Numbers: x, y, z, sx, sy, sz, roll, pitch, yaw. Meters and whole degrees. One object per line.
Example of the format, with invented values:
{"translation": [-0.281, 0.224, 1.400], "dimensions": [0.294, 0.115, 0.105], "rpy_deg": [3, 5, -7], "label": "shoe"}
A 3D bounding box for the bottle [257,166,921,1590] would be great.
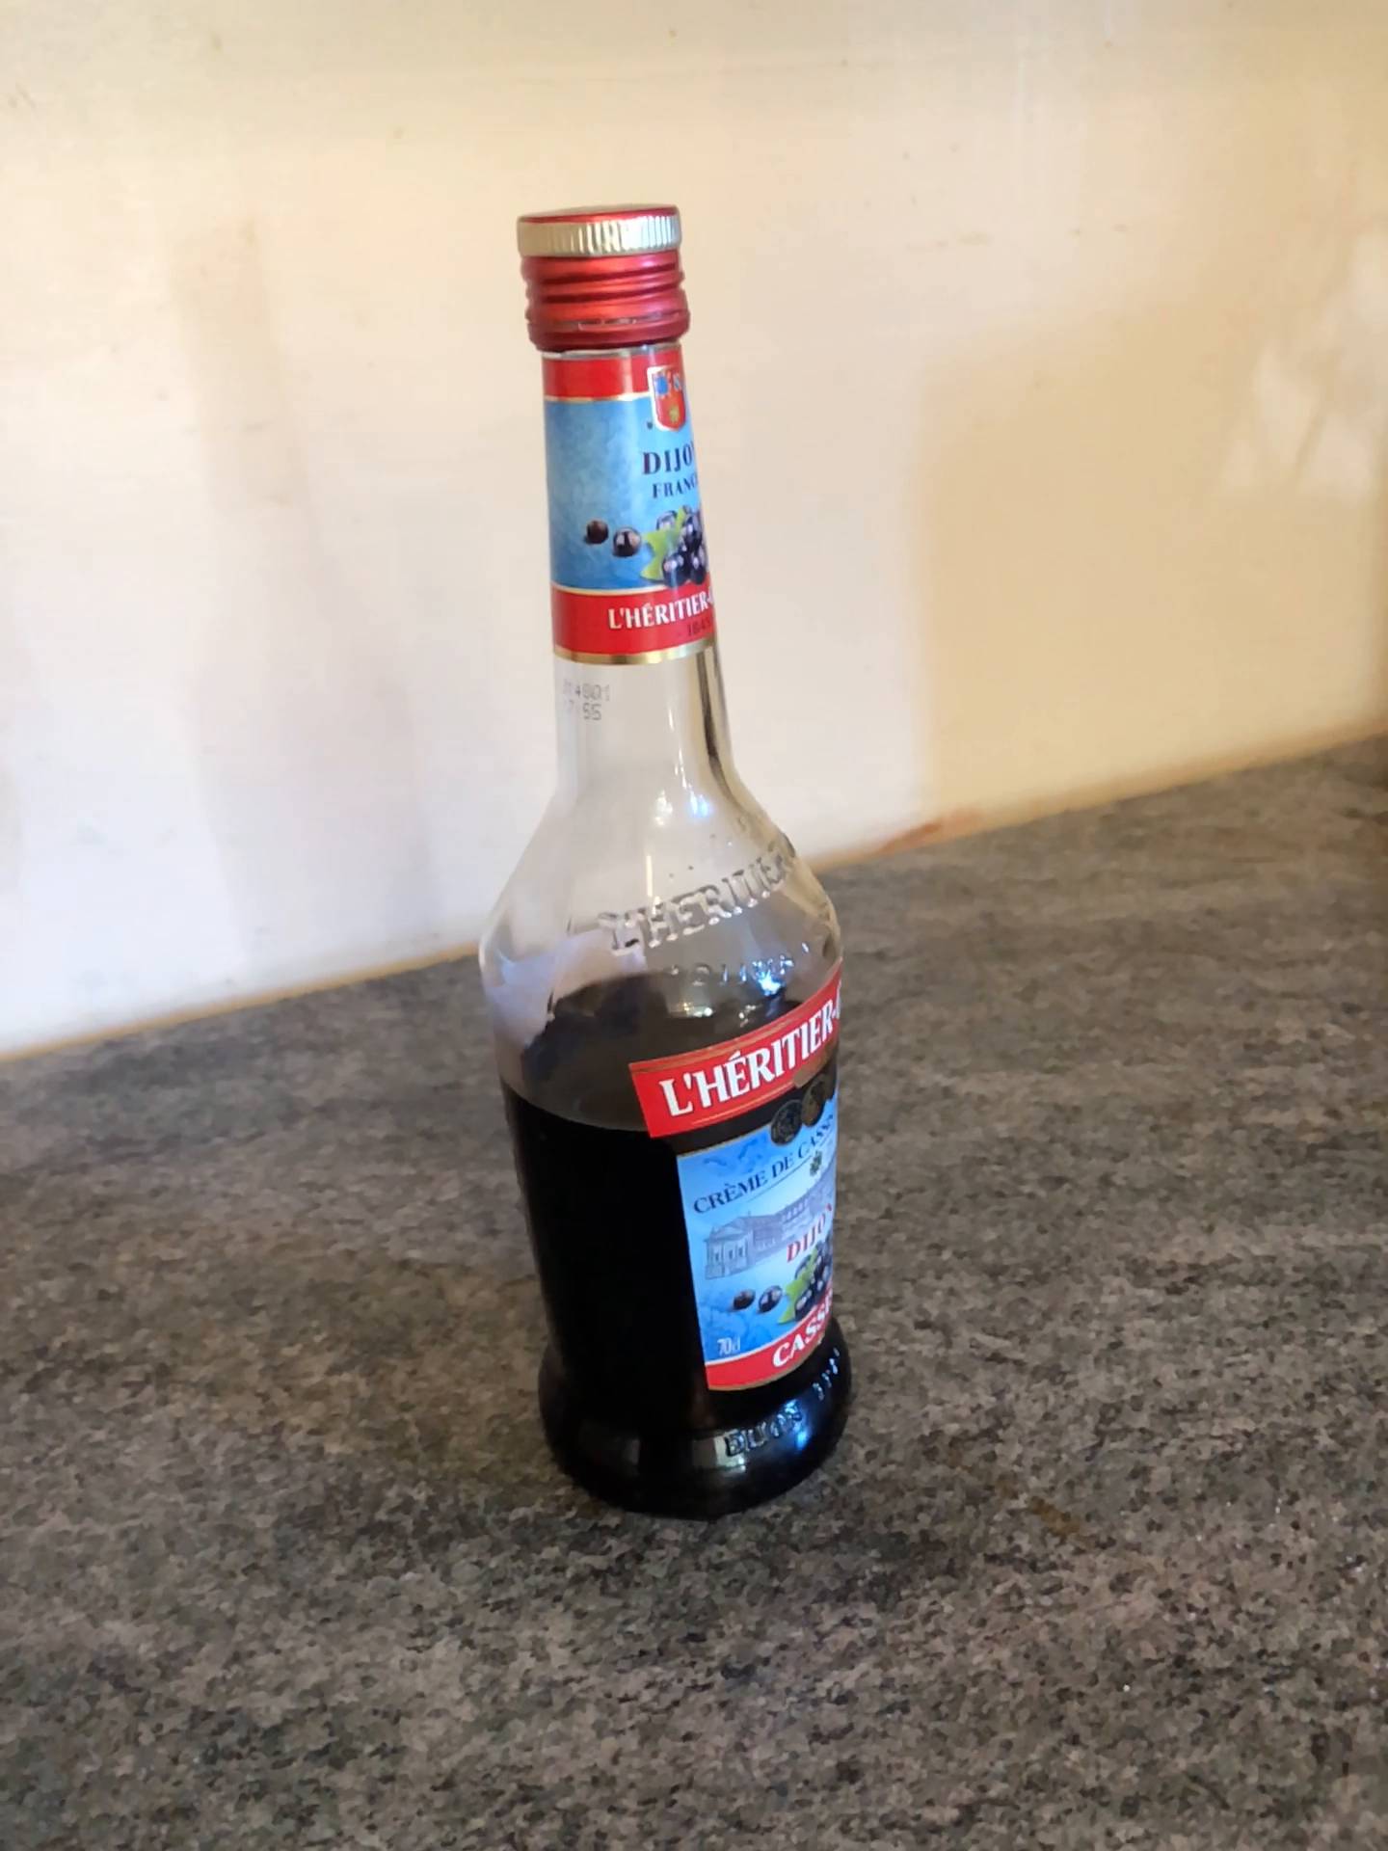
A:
{"translation": [-0.008, -0.005, 0.355], "dimensions": [0.090, 0.298, 0.091], "rpy_deg": [-3, 25, 2], "label": "bottle"}
